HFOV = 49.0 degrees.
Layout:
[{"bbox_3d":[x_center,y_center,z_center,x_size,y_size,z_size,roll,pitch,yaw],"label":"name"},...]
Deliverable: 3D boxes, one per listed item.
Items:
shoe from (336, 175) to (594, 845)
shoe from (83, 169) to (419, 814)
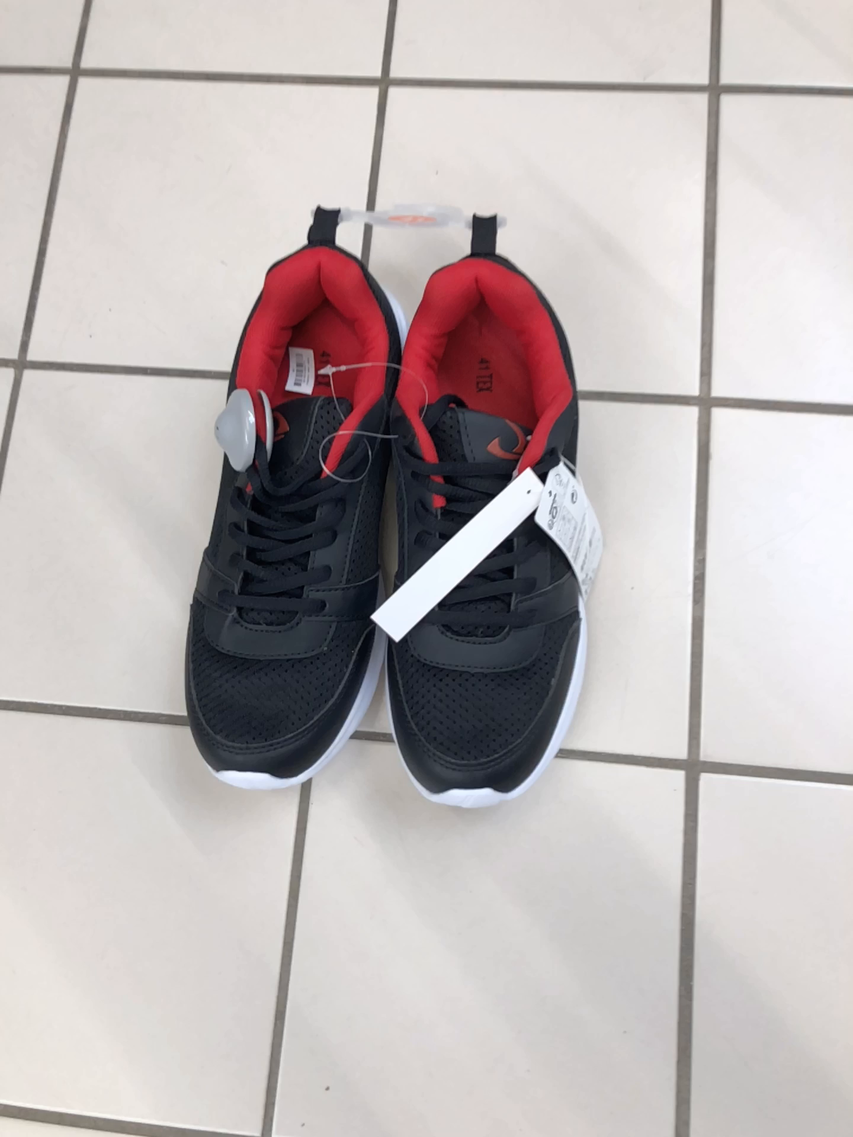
[{"bbox_3d":[0.025,-0.024,0.463,0.100,0.130,0.295,2,78,5],"label":"shoe"},{"bbox_3d":[-0.072,-0.031,0.469,0.100,0.130,0.285,4,78,5],"label":"shoe"}]
